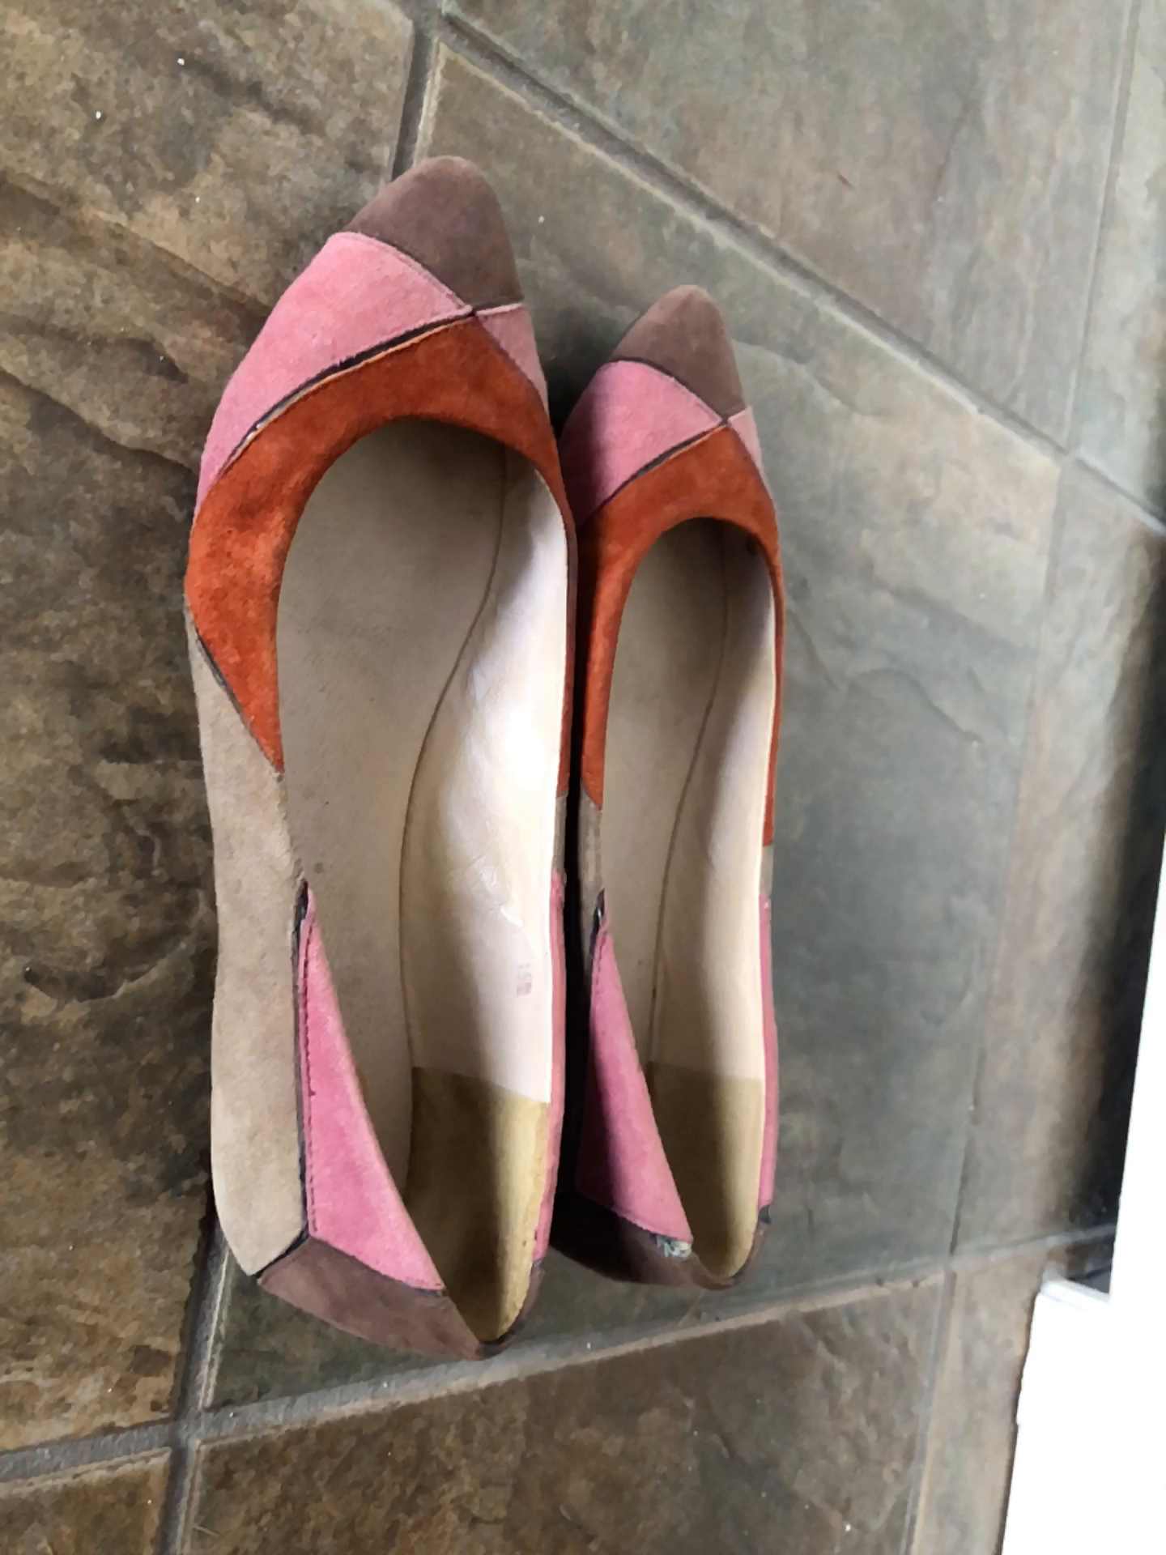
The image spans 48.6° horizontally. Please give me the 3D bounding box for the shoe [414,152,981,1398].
[{"bbox_3d":[0.031,0.000,0.334,0.090,0.070,0.270,8,89,-43],"label":"shoe"}]

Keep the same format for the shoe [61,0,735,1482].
[{"bbox_3d":[-0.039,-0.011,0.280,0.090,0.070,0.270,7,90,-43],"label":"shoe"}]
